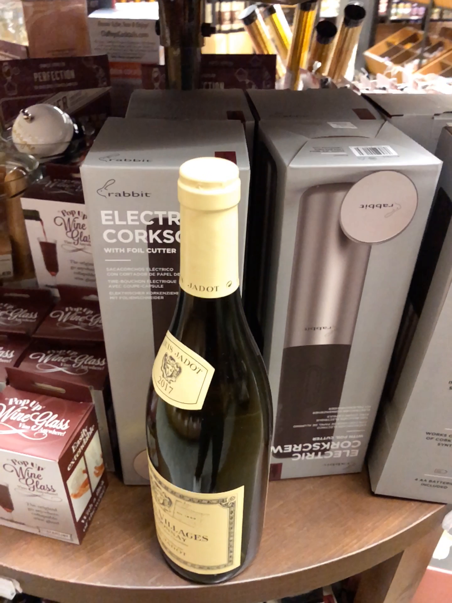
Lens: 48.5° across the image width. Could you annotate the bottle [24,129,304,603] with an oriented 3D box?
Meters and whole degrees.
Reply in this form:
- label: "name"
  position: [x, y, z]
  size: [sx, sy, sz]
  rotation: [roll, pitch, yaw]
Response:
- label: "bottle"
  position: [-0.028, 0.063, 0.311]
  size: [0.090, 0.299, 0.090]
  rotation: [0, 34, 0]
